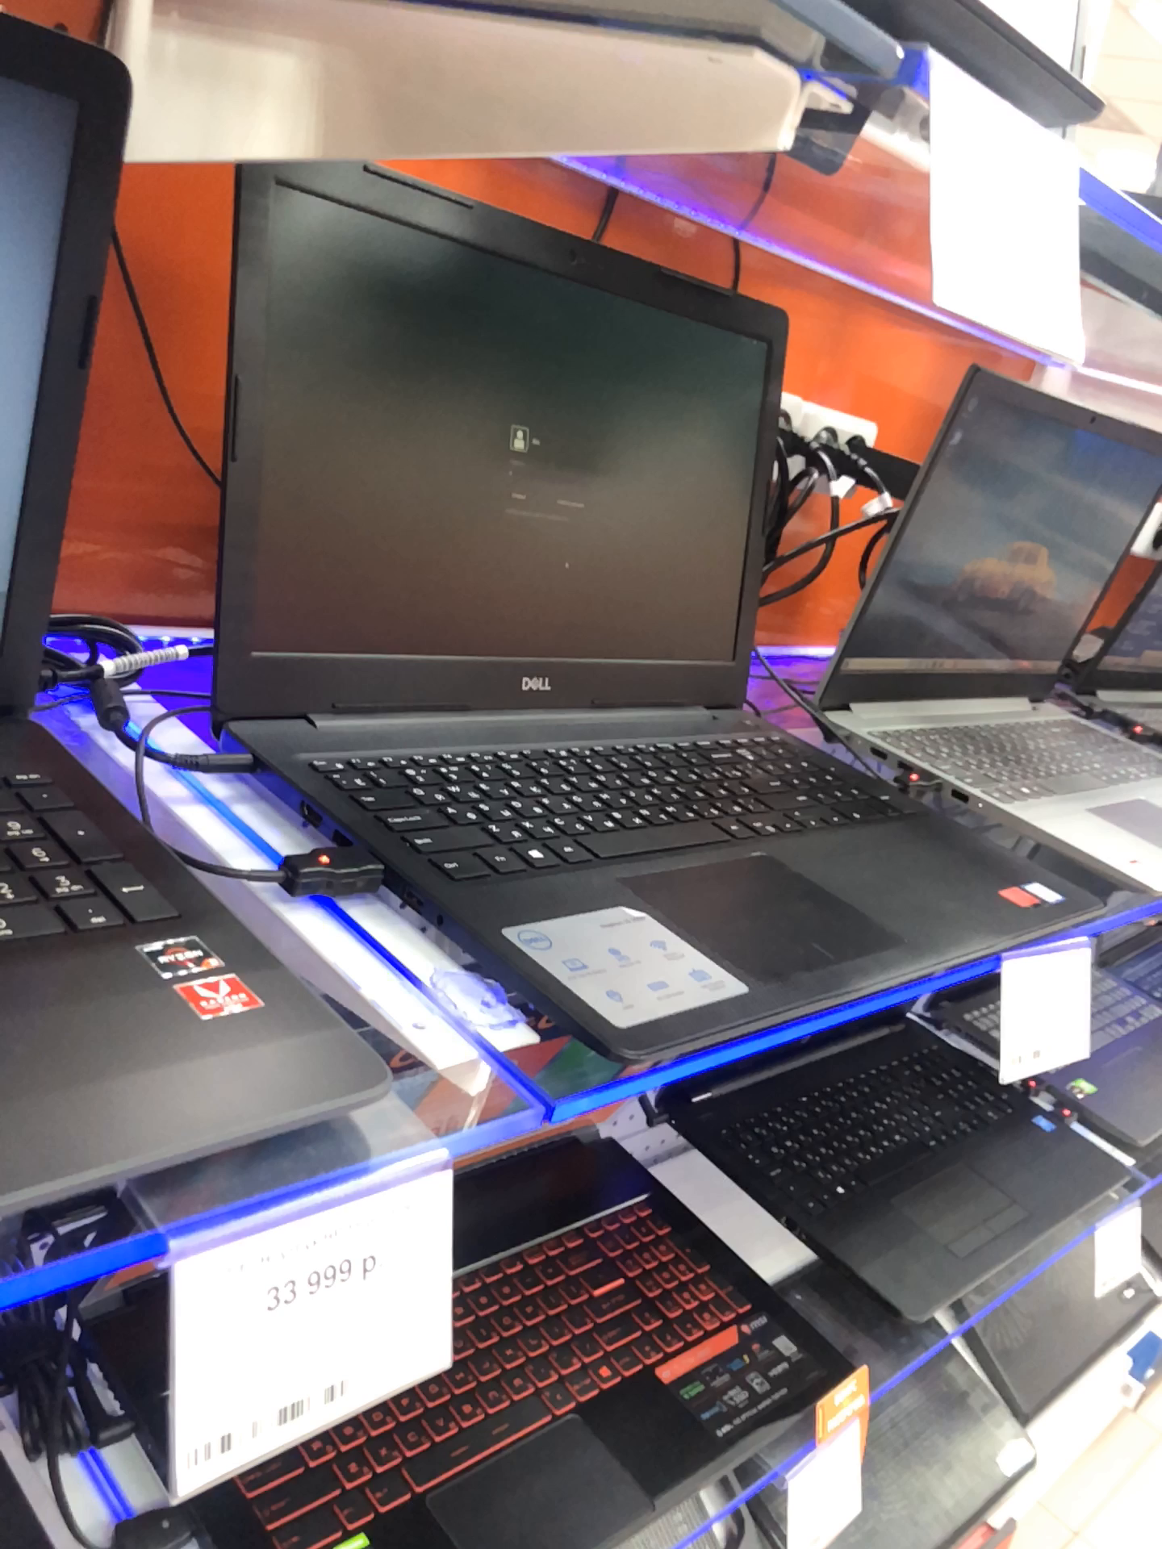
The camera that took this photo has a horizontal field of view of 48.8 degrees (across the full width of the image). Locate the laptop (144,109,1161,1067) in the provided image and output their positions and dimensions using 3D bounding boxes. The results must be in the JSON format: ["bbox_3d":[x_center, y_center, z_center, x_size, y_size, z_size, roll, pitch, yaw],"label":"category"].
[{"bbox_3d":[0.070,-0.097,0.581,0.316,0.233,0.374,32,23,36],"label":"laptop"}]
